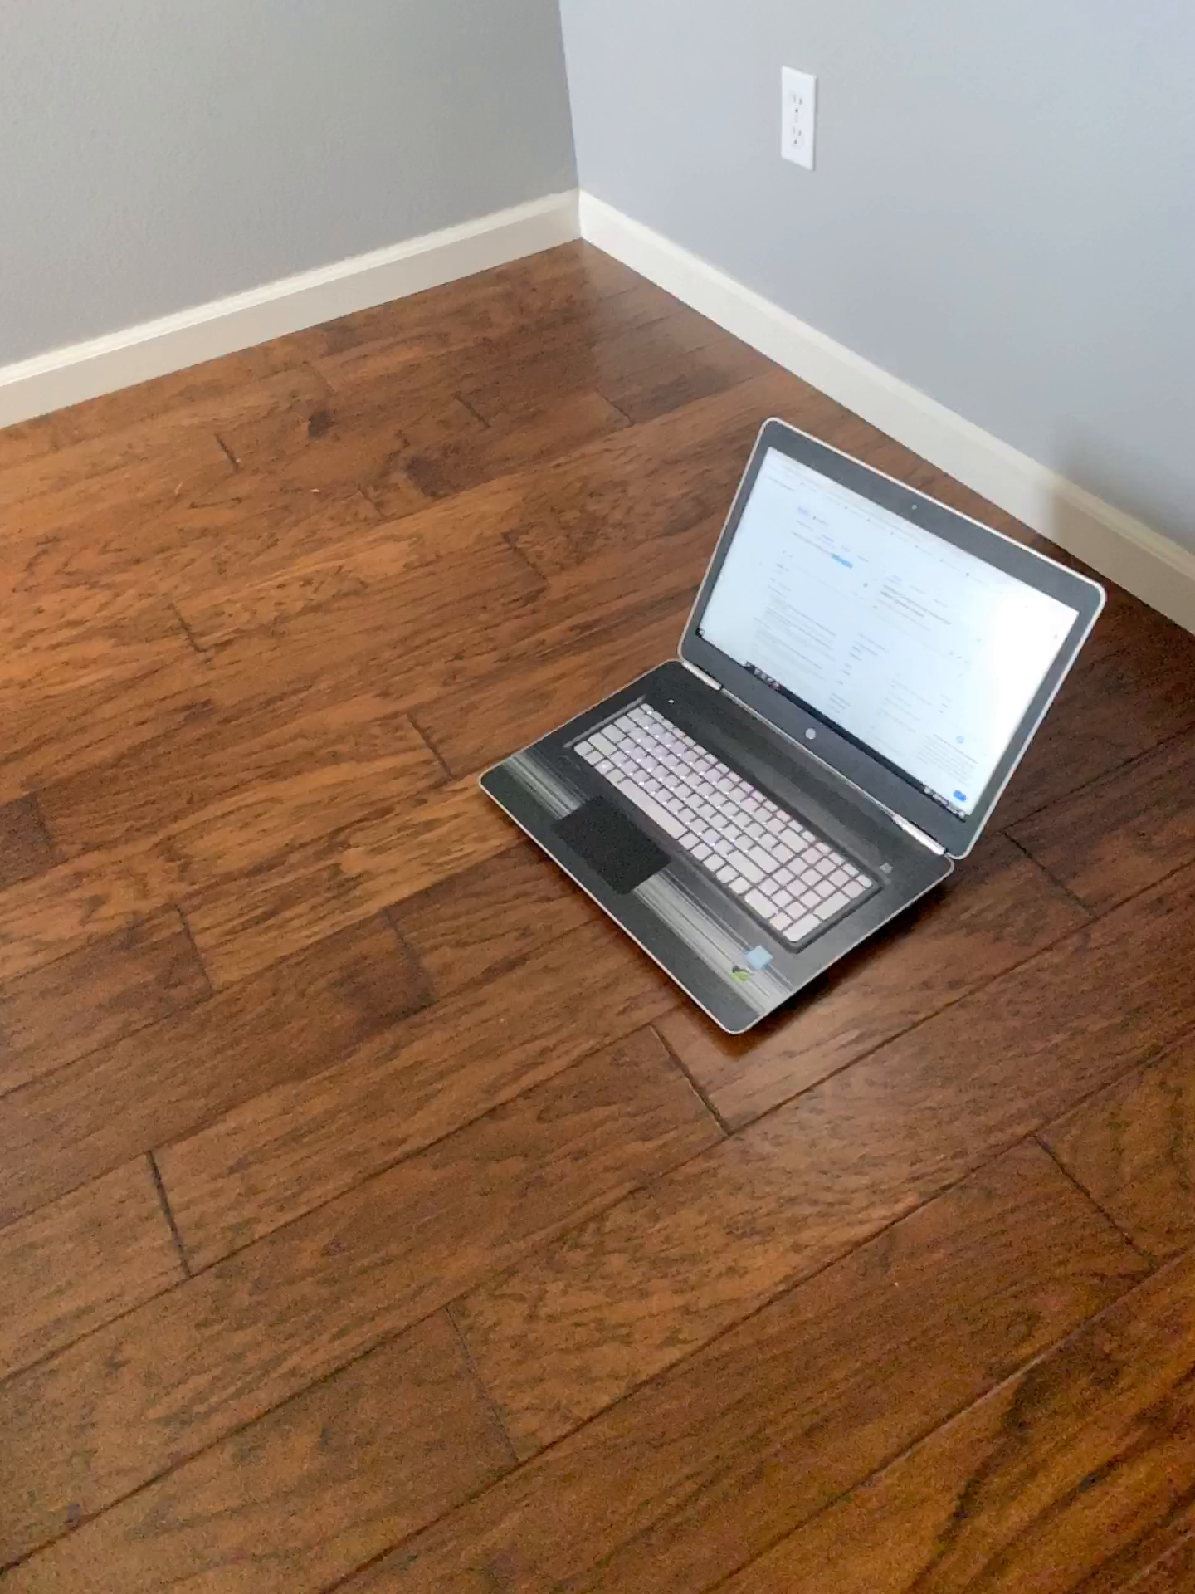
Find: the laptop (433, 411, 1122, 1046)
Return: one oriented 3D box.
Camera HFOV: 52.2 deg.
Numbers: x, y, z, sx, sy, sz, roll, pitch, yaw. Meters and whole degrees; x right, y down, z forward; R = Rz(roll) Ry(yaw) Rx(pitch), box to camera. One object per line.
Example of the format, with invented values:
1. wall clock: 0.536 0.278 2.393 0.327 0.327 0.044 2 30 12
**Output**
1. laptop: 0.151 -0.093 1.130 0.423 0.233 0.412 -33 51 -21
